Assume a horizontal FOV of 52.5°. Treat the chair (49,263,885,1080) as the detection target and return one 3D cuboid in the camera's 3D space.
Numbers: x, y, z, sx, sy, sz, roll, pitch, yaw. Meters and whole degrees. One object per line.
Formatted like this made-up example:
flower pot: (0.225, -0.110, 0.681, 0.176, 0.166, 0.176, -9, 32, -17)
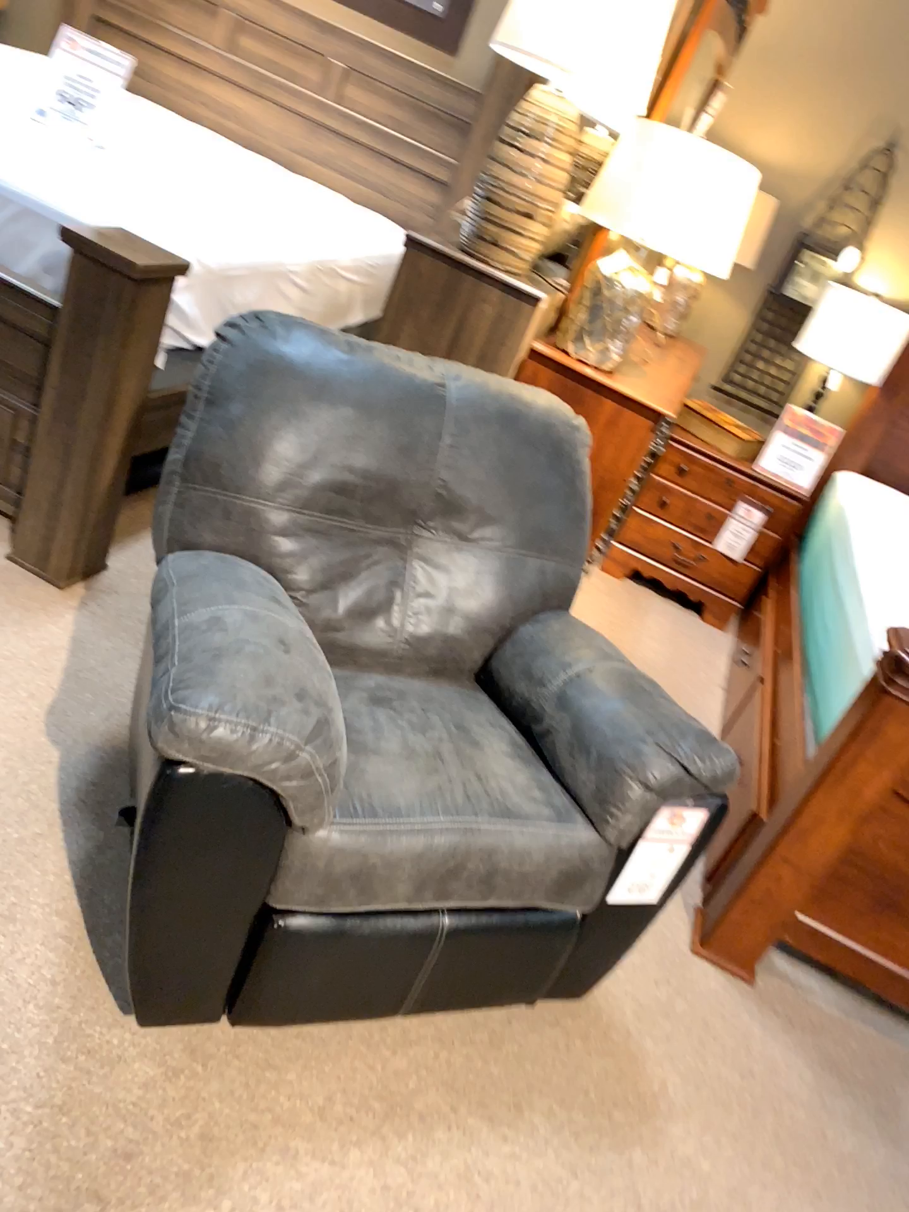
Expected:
chair: (-0.112, 0.111, 1.679, 0.989, 0.922, 0.908, 9, 31, -27)
